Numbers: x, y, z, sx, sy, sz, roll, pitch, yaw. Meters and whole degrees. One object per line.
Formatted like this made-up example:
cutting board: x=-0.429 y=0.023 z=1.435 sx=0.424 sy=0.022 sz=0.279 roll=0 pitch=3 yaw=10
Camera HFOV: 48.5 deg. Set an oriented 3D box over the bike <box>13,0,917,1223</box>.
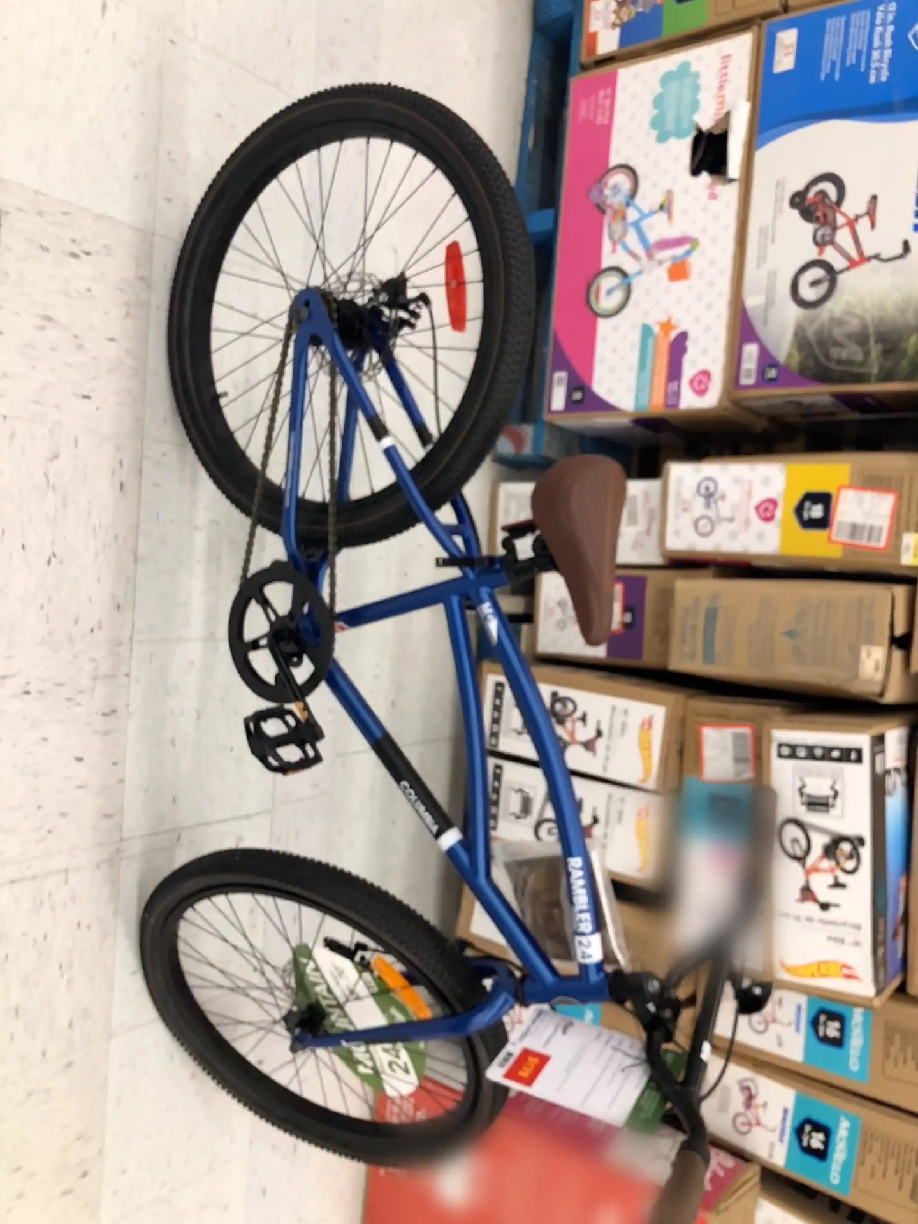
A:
bike: x=0.019 y=0.101 z=1.382 sx=0.652 sy=0.929 sz=1.552 roll=-11 pitch=104 yaw=-52
